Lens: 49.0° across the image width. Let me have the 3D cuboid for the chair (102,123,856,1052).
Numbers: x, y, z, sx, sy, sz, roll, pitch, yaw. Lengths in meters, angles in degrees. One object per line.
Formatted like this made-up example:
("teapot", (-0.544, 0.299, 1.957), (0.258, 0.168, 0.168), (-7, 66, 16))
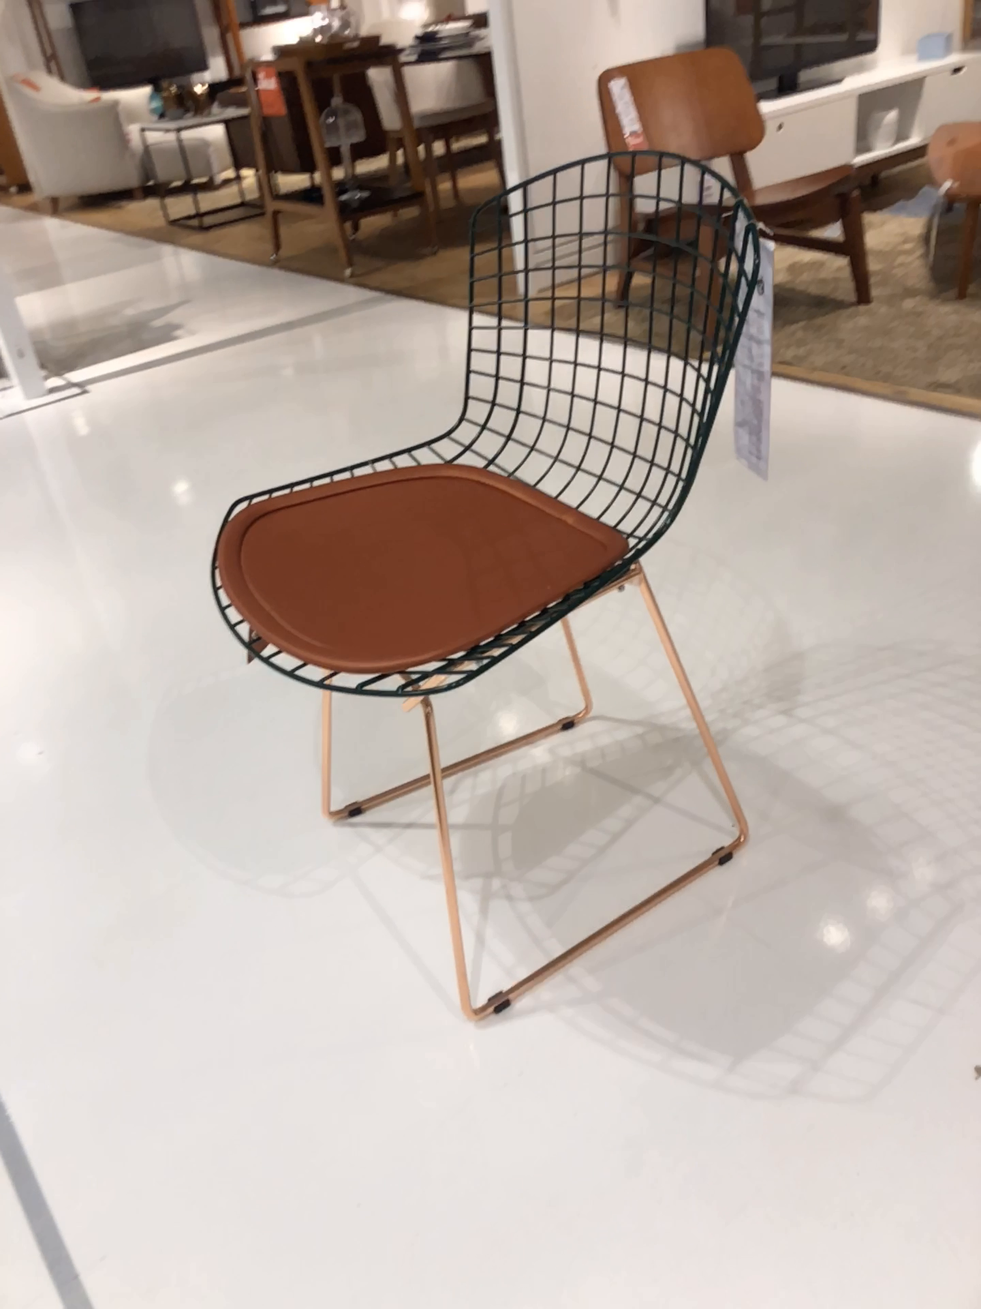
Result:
("chair", (0.002, -0.111, 1.134), (0.501, 0.725, 0.493), (-22, 33, -20))
